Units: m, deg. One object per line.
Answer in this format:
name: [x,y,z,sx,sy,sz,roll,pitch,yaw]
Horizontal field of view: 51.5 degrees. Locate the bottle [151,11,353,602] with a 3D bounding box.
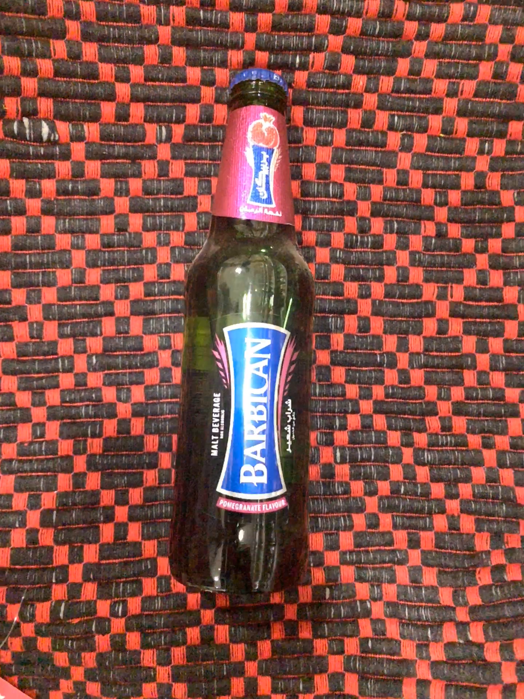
bottle: [-0.007,-0.022,0.253,0.070,0.080,0.240,1,77,-5]
